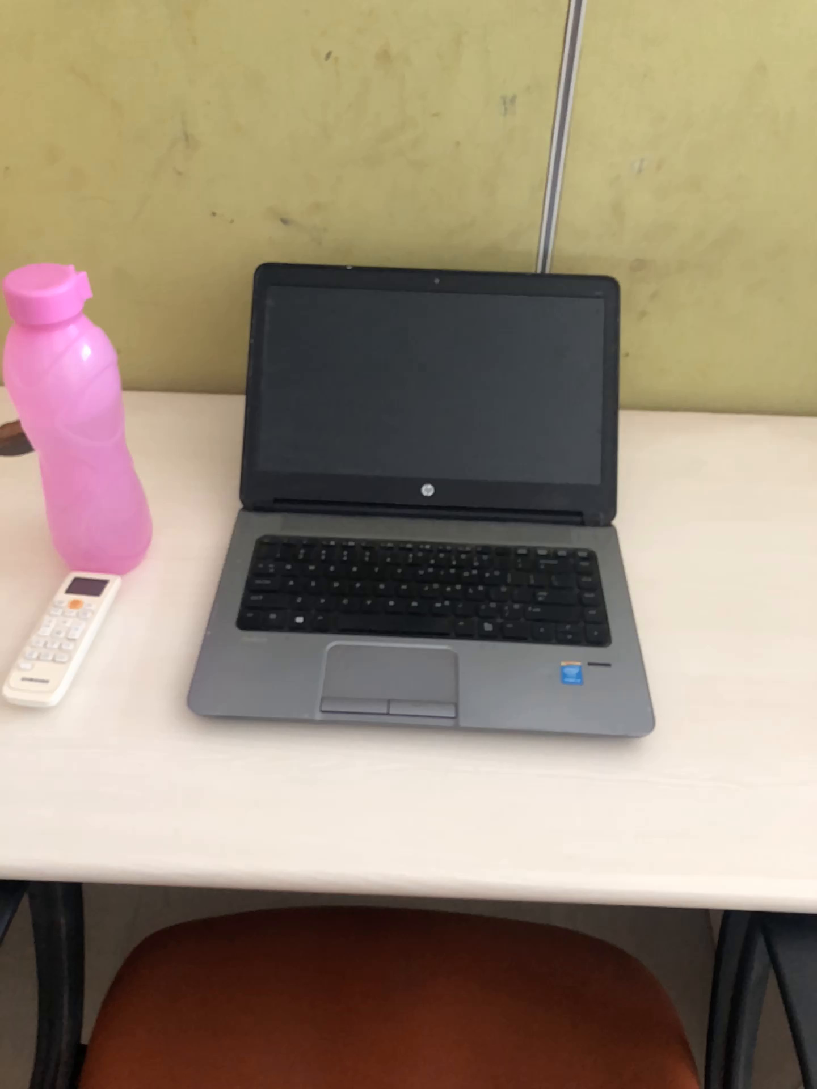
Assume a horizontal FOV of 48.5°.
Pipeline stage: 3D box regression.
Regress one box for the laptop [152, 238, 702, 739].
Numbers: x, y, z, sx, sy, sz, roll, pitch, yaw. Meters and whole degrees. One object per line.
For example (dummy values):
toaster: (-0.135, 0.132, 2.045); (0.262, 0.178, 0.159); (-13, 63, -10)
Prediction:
laptop: (0.016, -0.072, 0.727); (0.326, 0.147, 0.409); (2, 45, 1)
